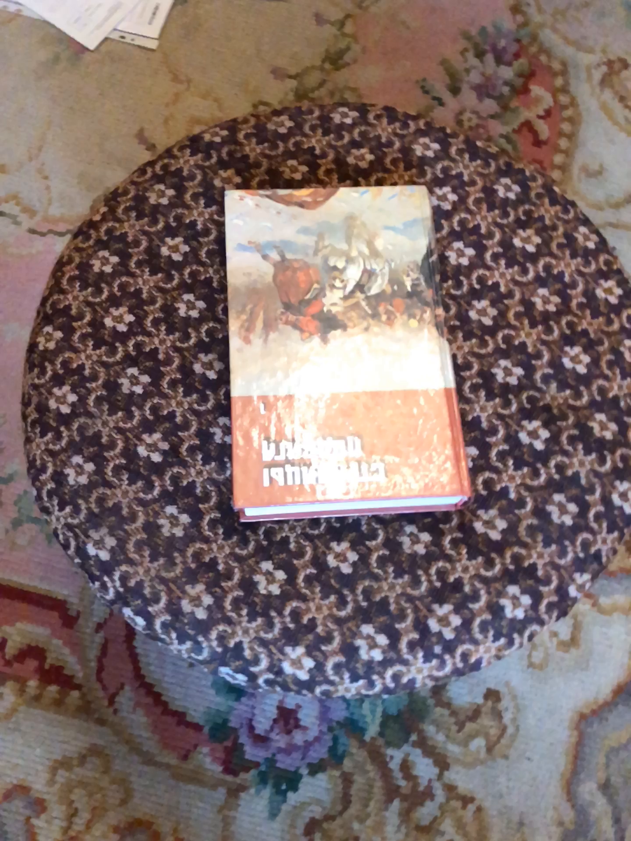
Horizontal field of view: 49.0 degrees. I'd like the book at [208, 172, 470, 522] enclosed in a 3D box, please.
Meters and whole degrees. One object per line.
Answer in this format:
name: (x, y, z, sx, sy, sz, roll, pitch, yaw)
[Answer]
book: (0.007, -0.049, 0.413, 0.134, 0.040, 0.206, -3, 70, -4)
